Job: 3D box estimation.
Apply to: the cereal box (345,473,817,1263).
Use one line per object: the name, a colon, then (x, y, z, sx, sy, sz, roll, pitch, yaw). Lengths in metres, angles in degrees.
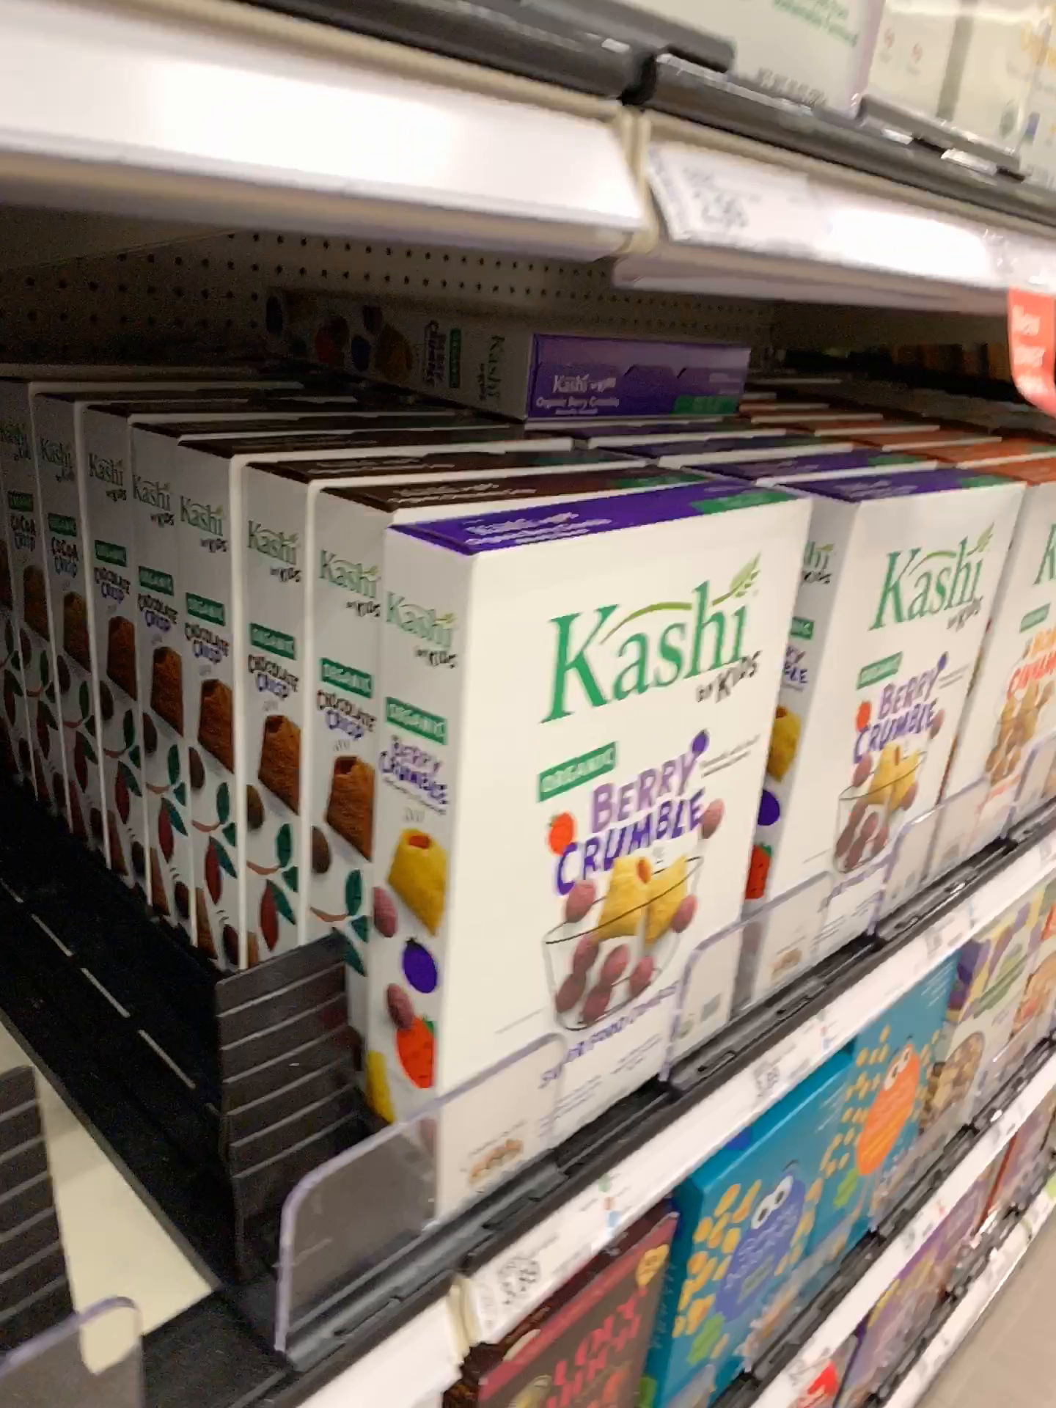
cereal box: (0.022, 0.056, 0.446, 0.050, 0.279, 0.191, 24, 27, 37)
